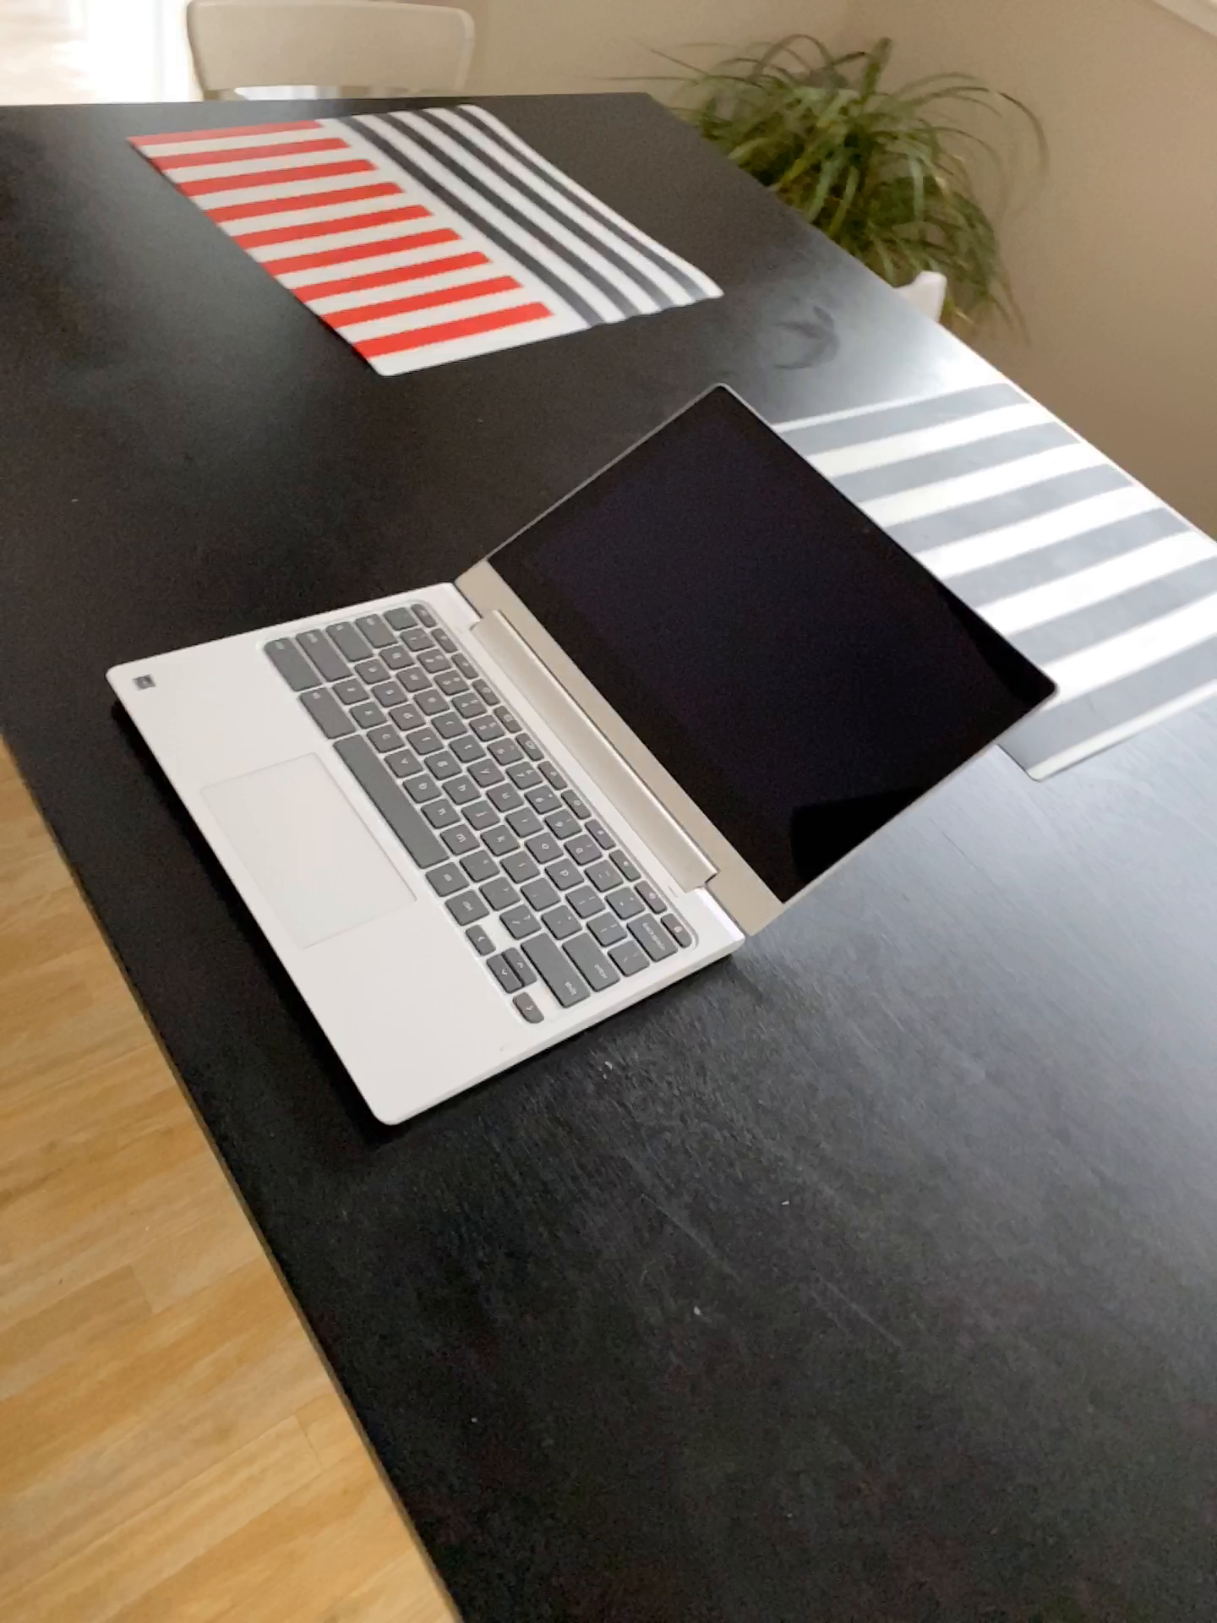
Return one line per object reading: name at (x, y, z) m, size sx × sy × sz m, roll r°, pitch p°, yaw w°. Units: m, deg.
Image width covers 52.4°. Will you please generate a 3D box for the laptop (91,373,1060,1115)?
laptop at (-0.012, -0.071, 0.630) m, size 0.381 × 0.106 × 0.285 m, roll -22°, pitch 60°, yaw -32°
